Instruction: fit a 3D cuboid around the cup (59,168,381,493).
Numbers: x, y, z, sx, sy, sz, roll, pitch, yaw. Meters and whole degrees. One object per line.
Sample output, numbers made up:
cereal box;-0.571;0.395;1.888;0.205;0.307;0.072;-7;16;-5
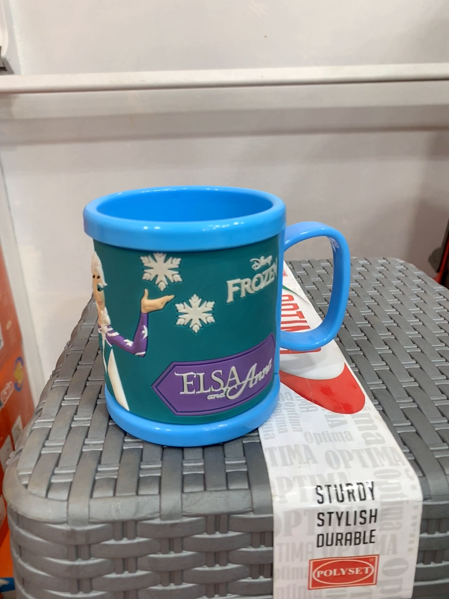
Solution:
cup;-0.005;0.002;0.205;0.106;0.099;0.078;-12;25;-22
